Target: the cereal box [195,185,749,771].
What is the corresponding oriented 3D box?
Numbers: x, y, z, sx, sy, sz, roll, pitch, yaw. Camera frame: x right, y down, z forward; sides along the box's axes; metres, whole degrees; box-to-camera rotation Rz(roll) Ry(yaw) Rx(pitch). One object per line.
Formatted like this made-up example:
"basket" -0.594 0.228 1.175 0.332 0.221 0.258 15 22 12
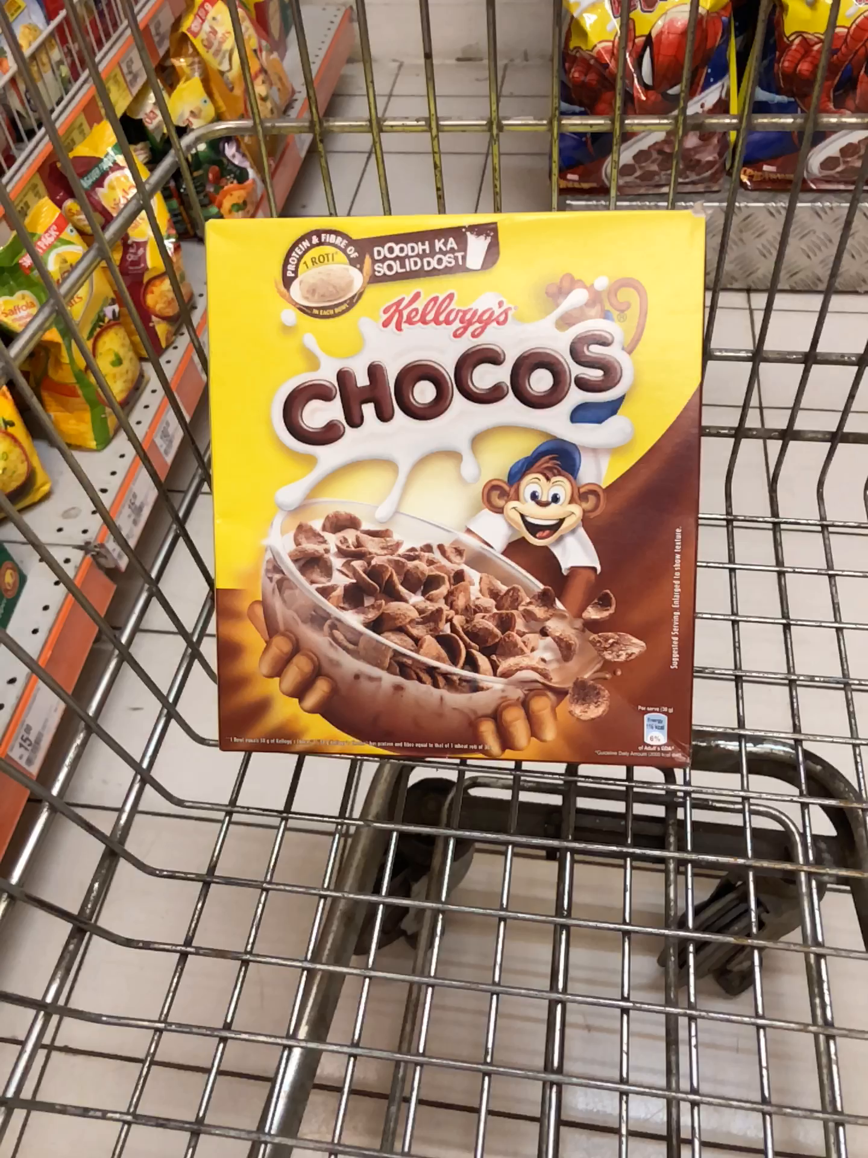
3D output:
"cereal box" 0.013 -0.037 0.374 0.190 0.070 0.200 1 96 6
